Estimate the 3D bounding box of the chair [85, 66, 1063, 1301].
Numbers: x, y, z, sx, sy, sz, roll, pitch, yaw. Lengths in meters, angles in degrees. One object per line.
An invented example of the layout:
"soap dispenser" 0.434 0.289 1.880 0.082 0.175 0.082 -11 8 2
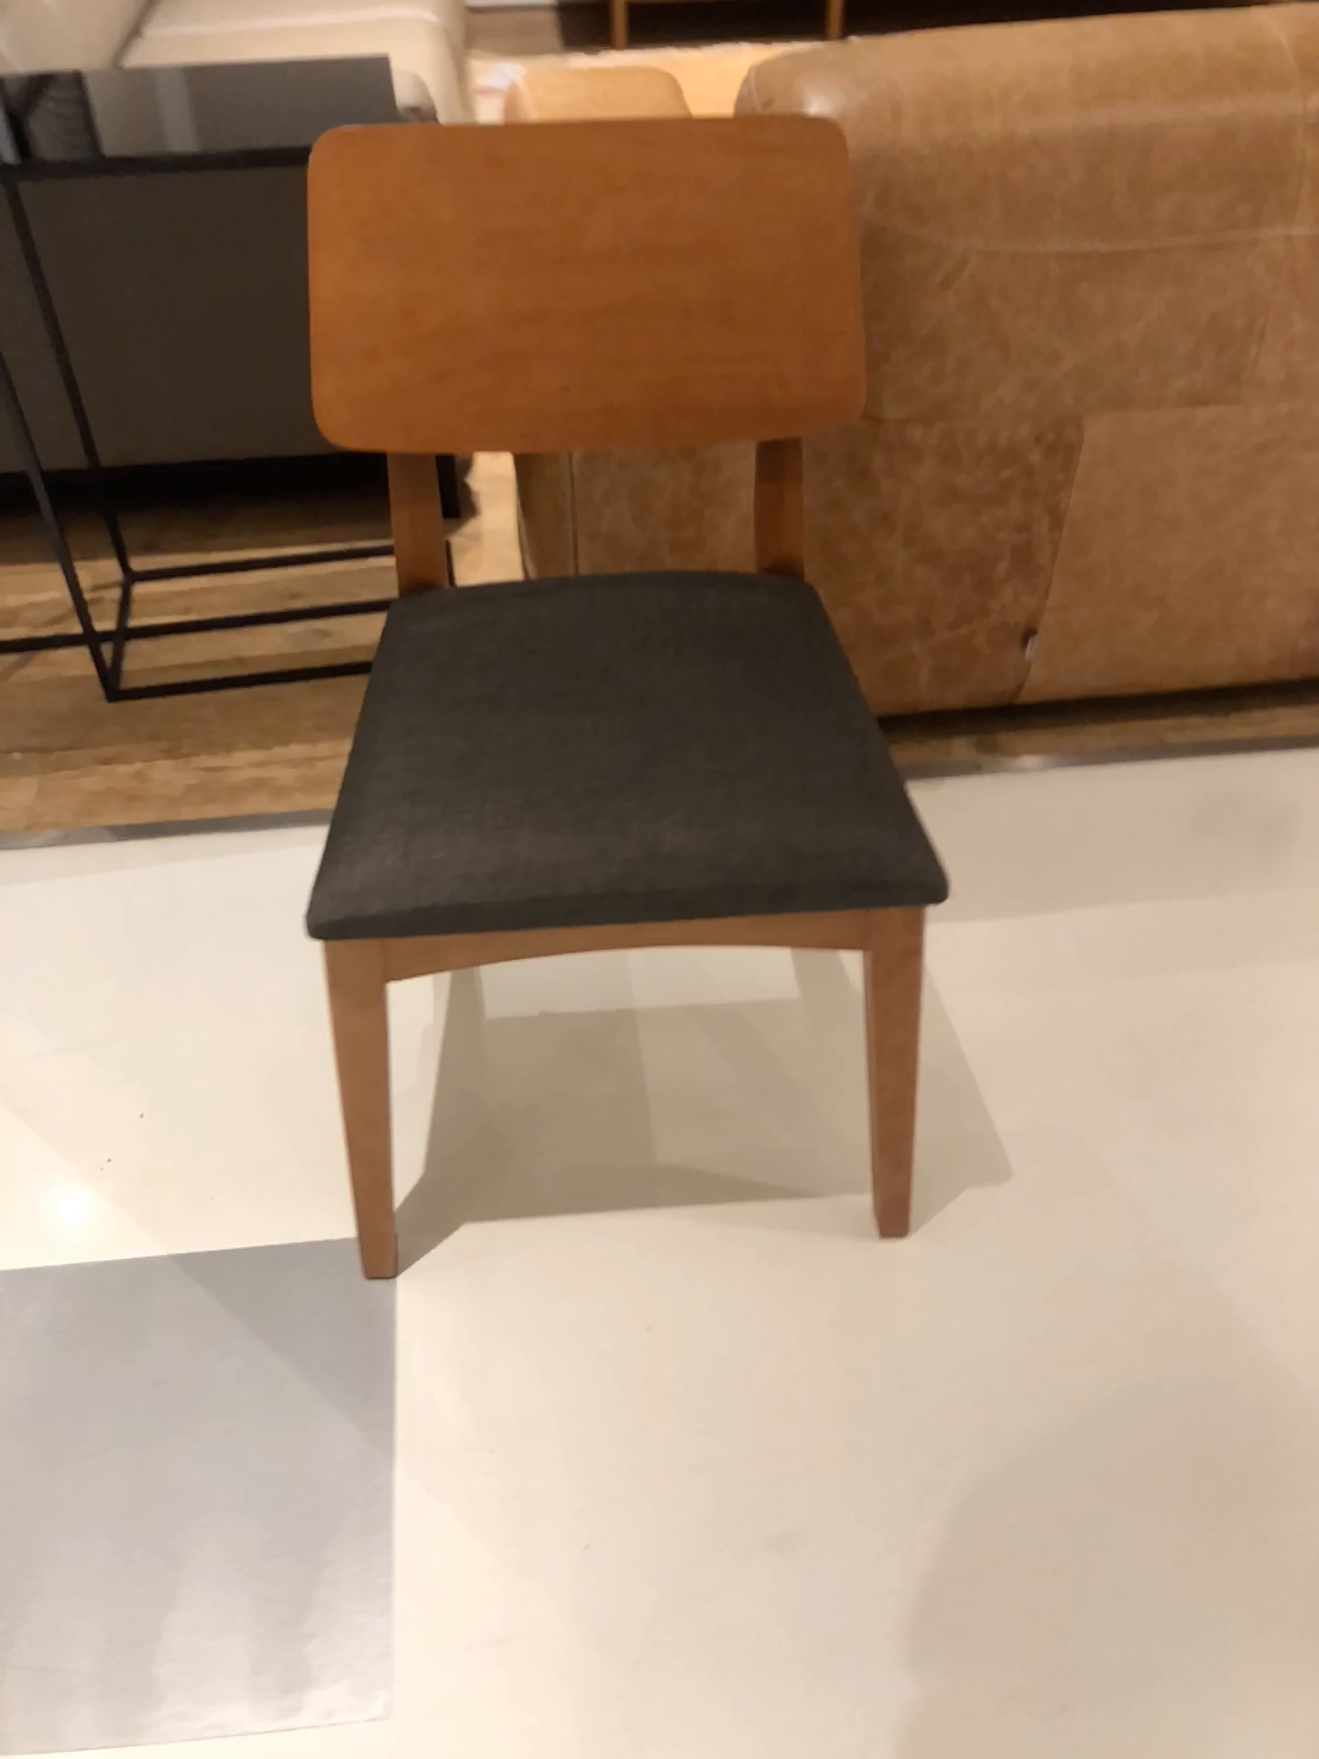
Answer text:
"chair" -0.057 -0.134 1.190 0.480 0.794 0.565 -4 44 -3
